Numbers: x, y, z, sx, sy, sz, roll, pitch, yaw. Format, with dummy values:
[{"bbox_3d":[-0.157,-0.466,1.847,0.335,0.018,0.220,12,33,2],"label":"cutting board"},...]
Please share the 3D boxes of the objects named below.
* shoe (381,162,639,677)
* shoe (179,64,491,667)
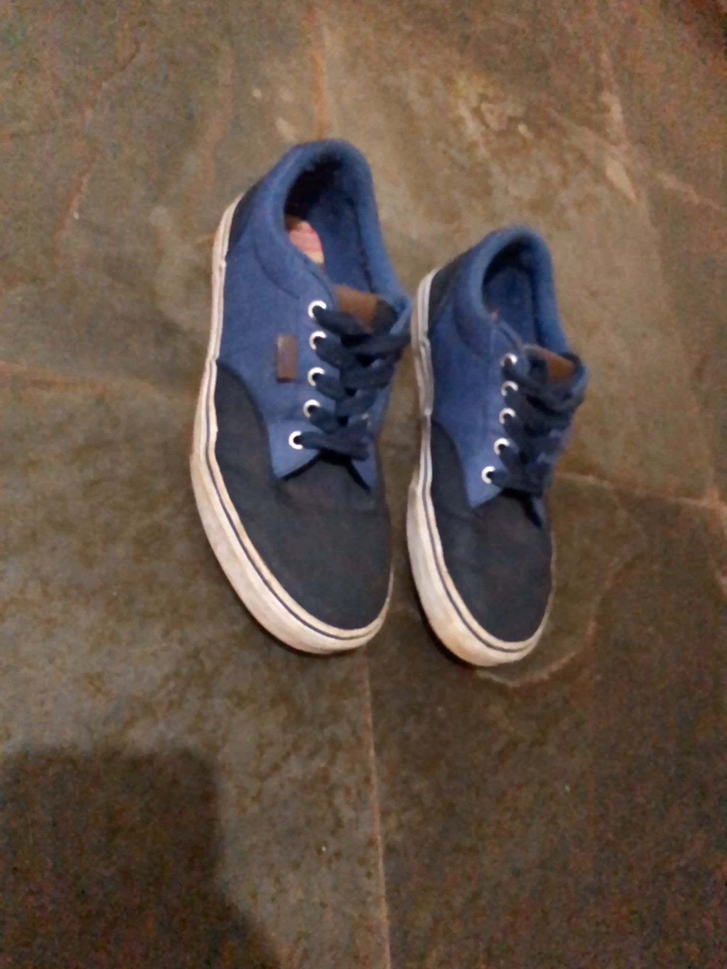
[{"bbox_3d":[0.081,-0.039,0.499,0.110,0.079,0.291,15,62,-32],"label":"shoe"},{"bbox_3d":[-0.023,-0.056,0.414,0.111,0.079,0.281,8,66,-35],"label":"shoe"}]
